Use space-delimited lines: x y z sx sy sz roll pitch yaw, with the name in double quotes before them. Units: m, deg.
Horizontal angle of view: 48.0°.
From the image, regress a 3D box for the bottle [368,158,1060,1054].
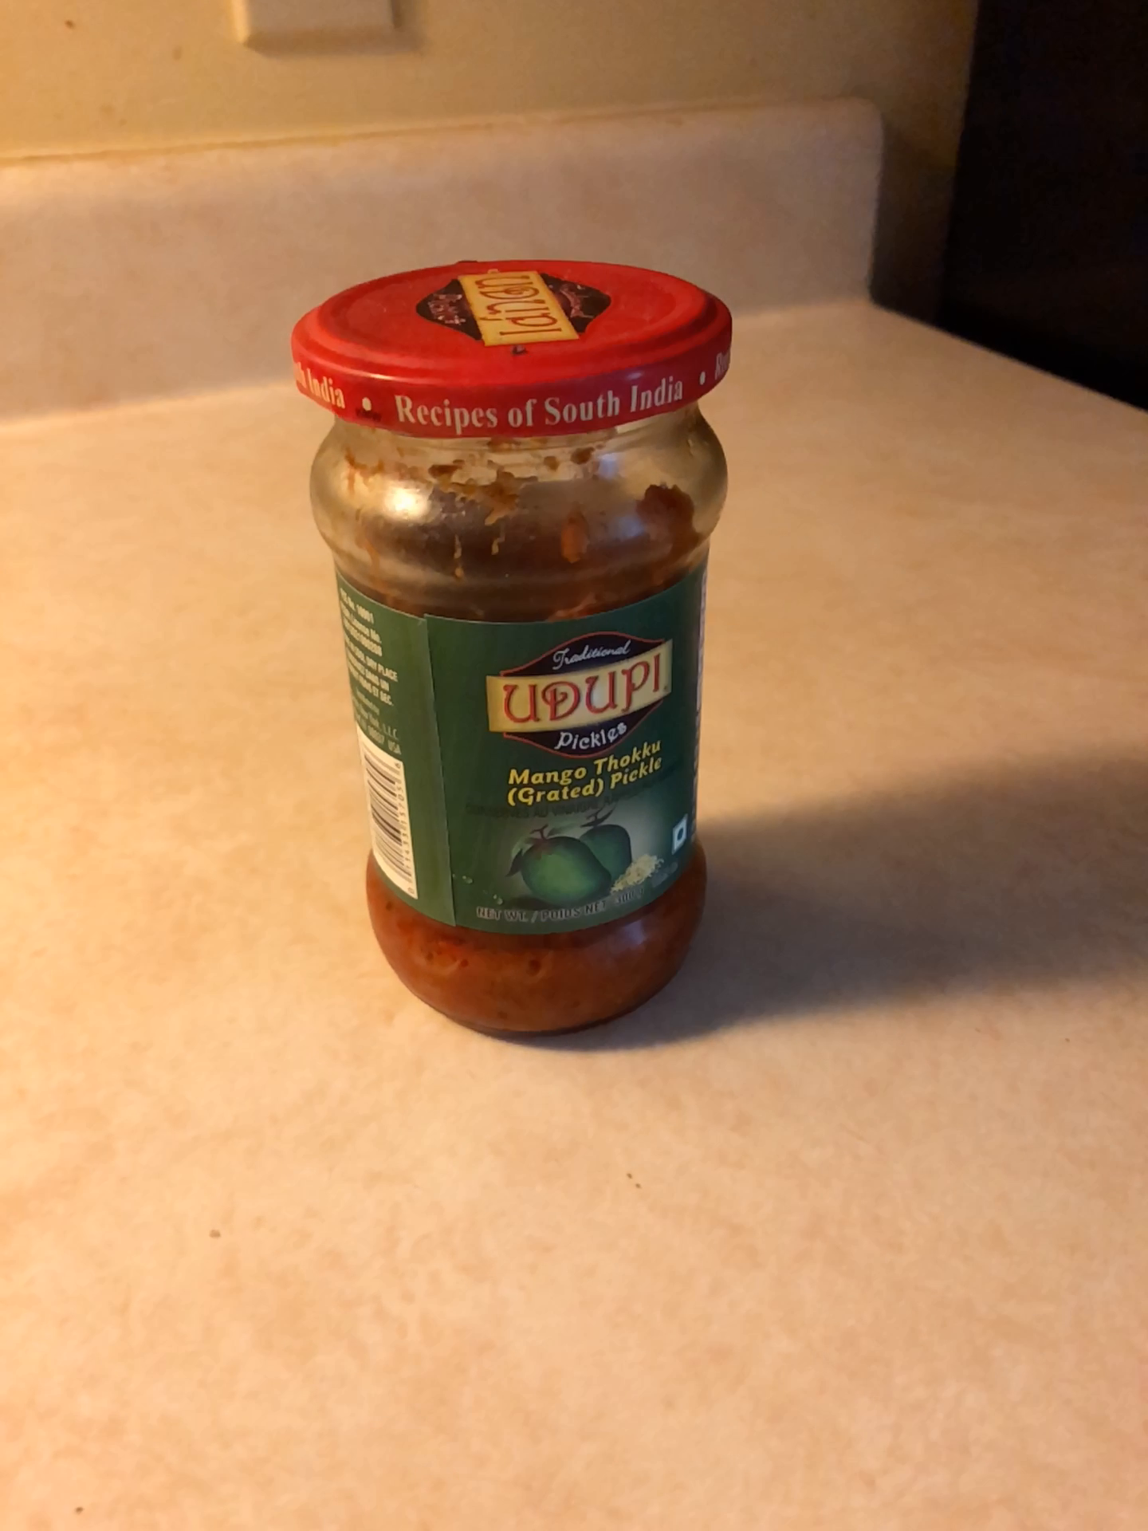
"bottle" 0.014 -0.029 0.217 0.080 0.120 0.080 -1 32 1
